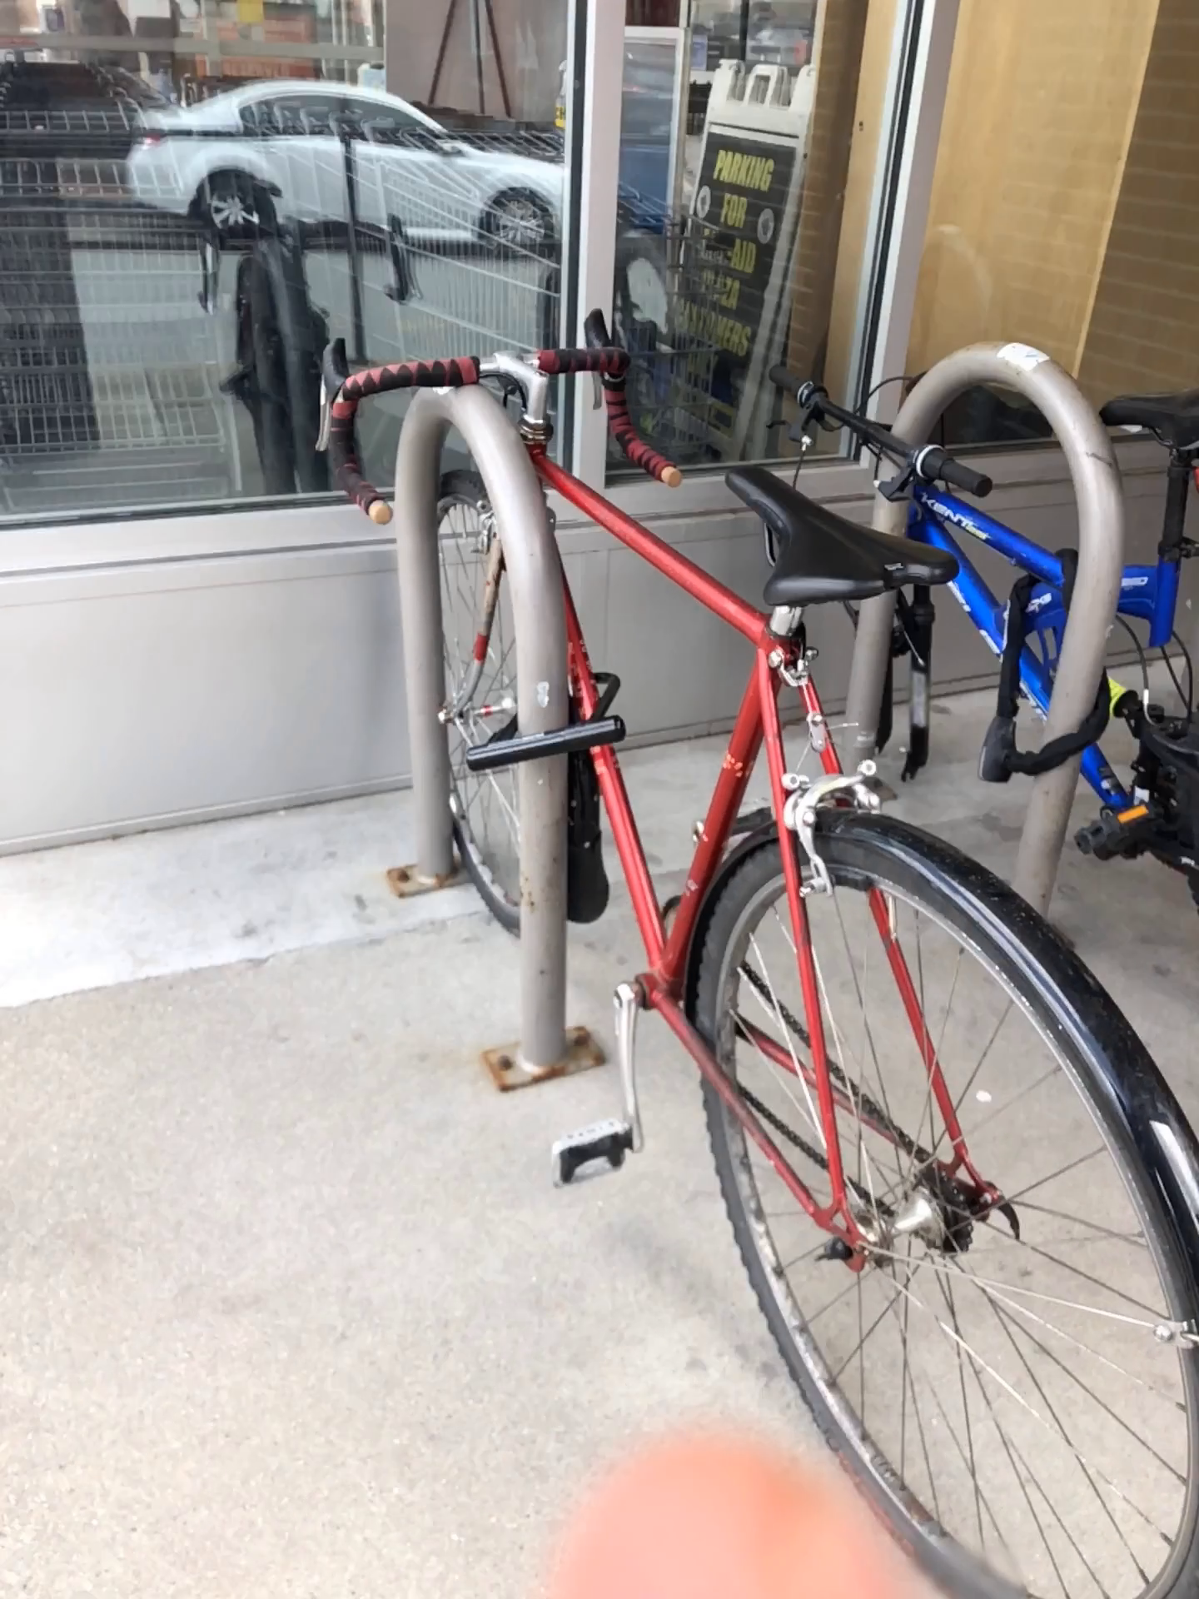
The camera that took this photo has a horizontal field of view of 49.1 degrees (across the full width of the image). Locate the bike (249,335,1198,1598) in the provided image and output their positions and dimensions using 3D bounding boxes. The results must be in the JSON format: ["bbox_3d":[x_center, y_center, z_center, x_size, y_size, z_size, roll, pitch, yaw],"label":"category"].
[{"bbox_3d":[0.041,0.087,1.509,0.459,0.787,1.697,-11,34,-23],"label":"bike"}]
